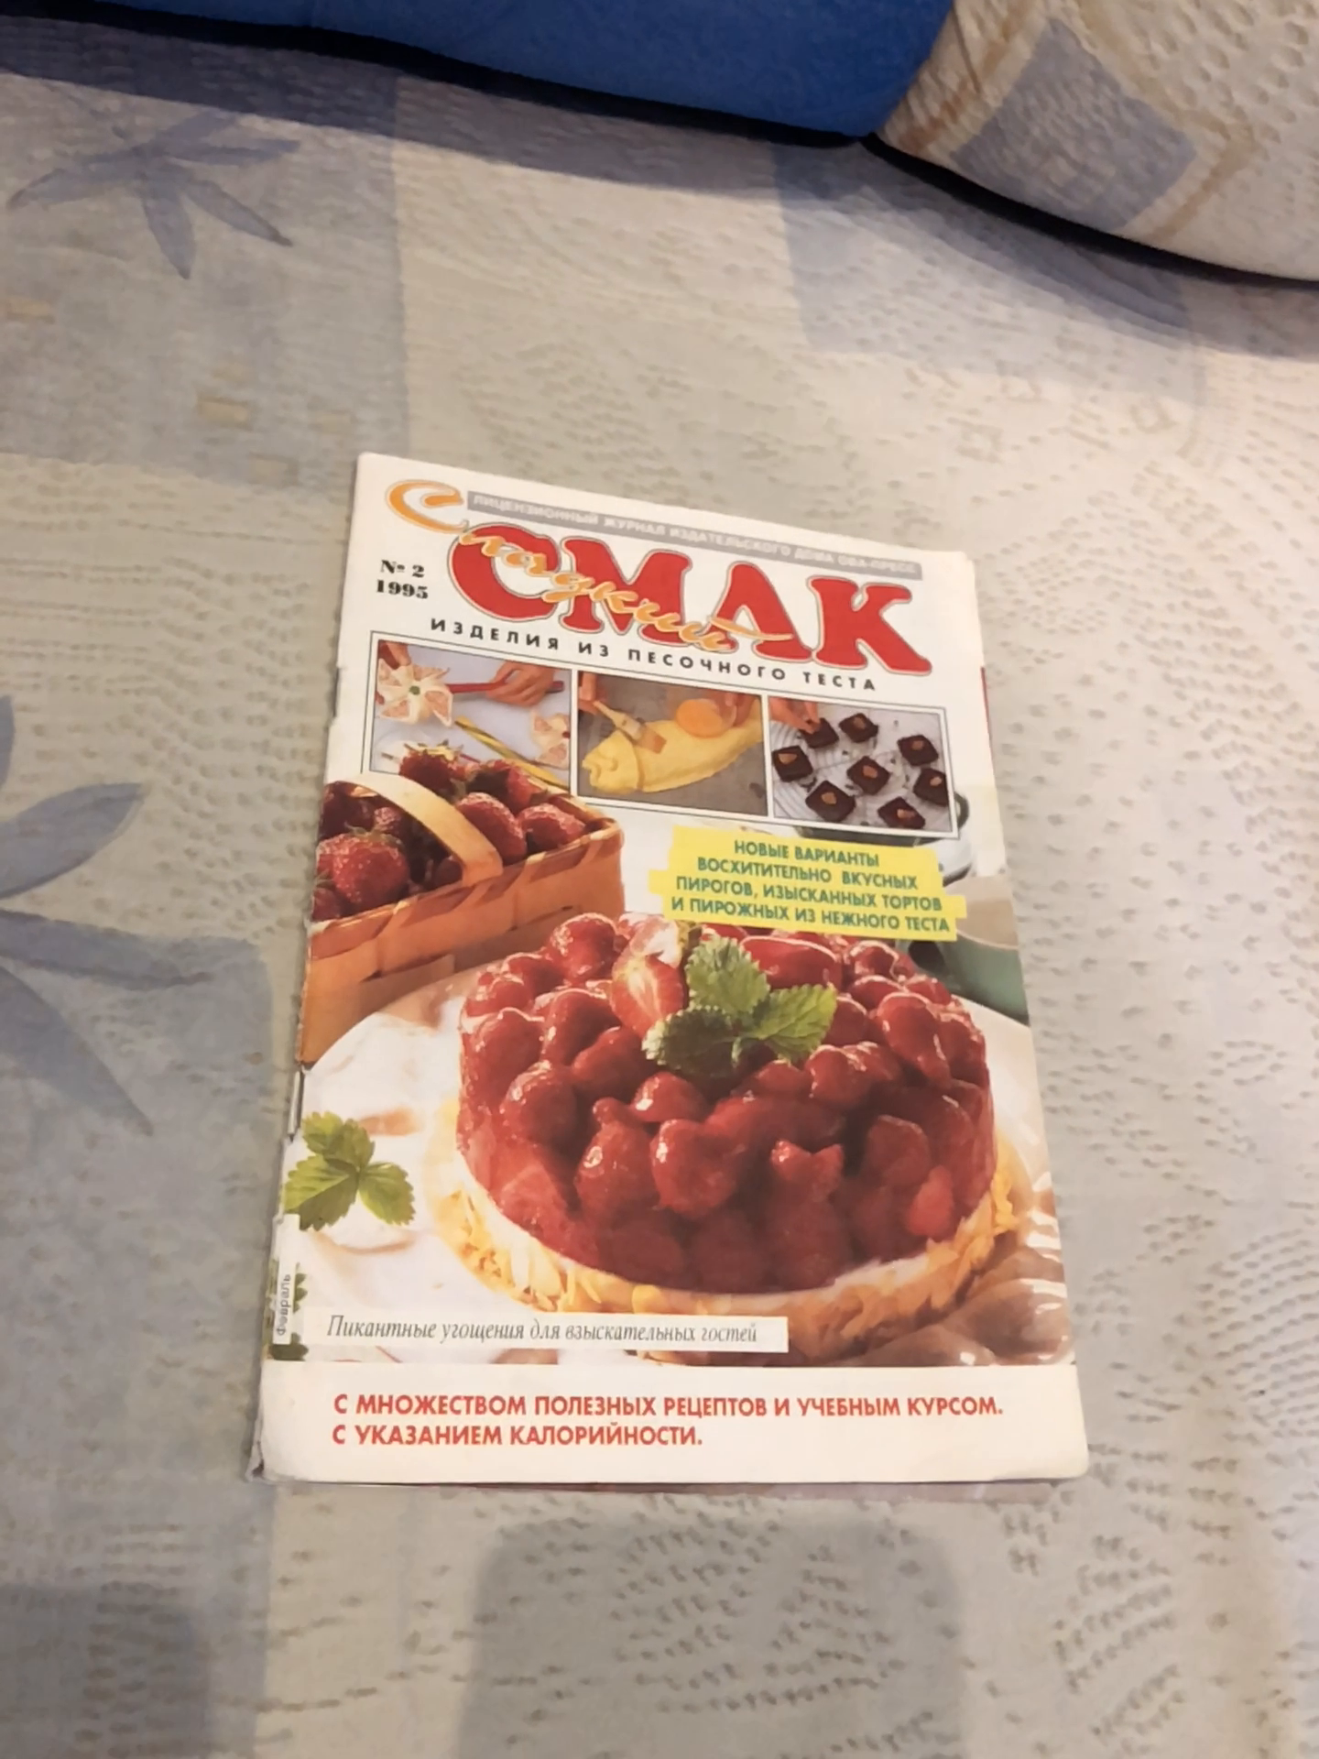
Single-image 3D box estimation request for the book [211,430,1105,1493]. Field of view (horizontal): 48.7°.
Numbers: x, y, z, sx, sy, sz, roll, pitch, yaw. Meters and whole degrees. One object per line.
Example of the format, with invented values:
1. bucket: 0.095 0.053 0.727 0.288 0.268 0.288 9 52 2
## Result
1. book: 0.003 0.011 0.339 0.177 0.020 0.241 6 65 -13
